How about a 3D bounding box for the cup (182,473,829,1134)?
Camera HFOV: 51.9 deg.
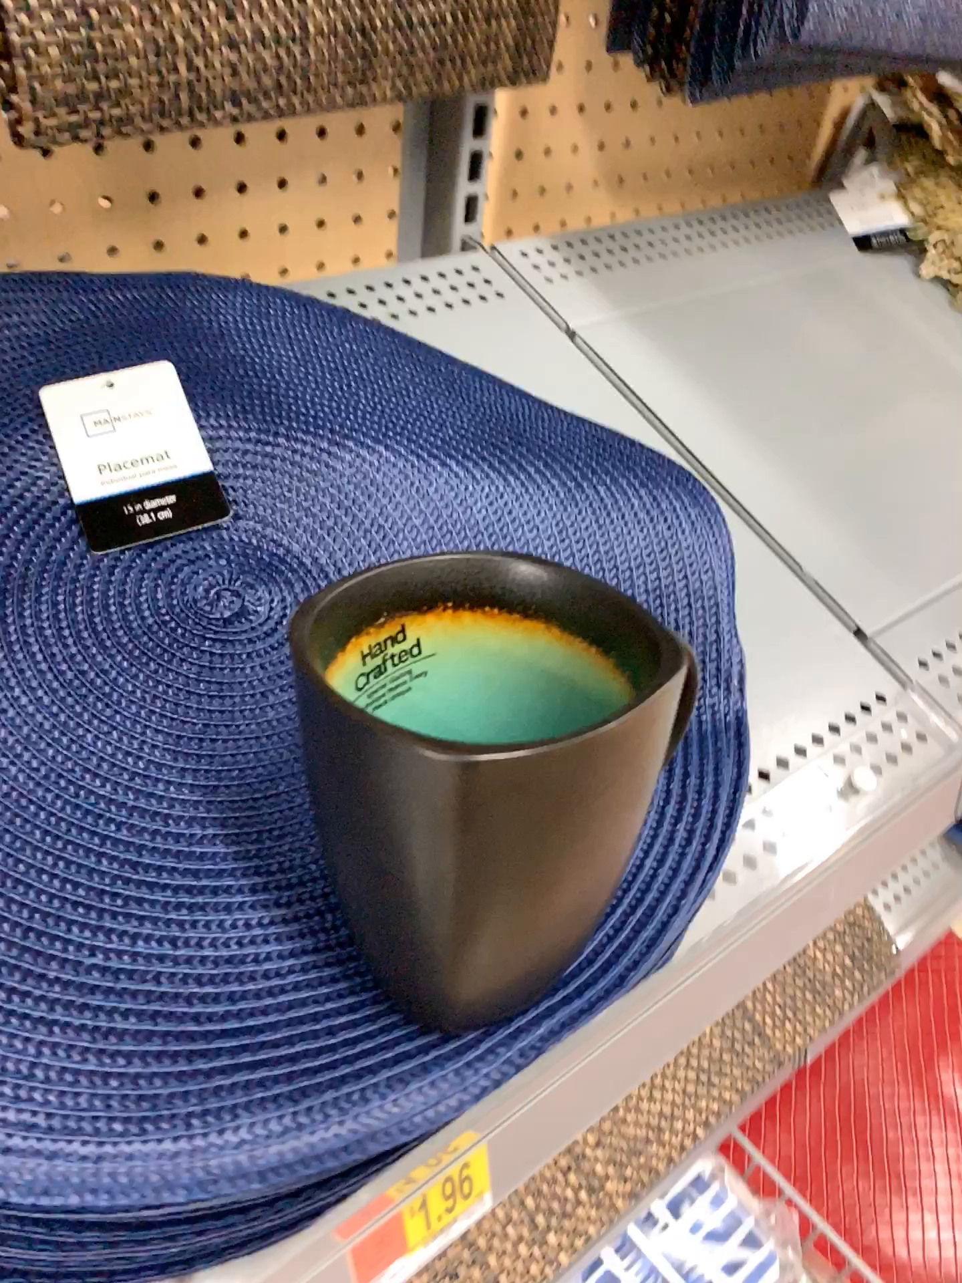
[{"bbox_3d":[0.004,0.035,0.272,0.130,0.110,0.090,-19,41,-29],"label":"cup"}]
